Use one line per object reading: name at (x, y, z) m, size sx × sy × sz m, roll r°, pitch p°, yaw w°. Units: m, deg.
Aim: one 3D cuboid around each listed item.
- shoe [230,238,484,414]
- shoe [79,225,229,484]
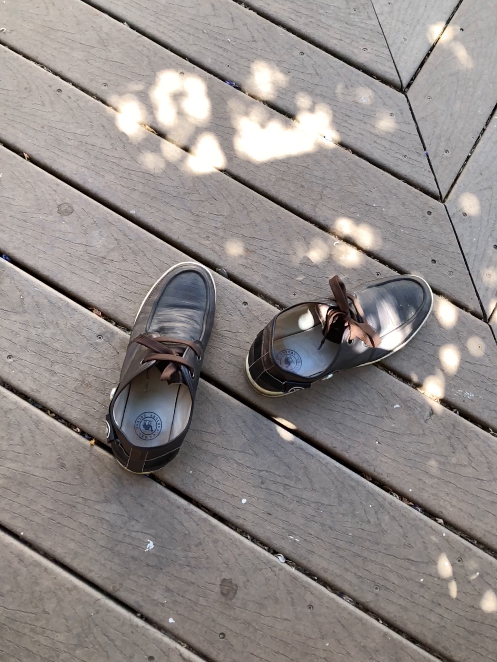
shoe at (0.139, -0.004, 0.744) m, size 0.303 × 0.121 × 0.108 m, roll -22°, pitch 78°, yaw -11°
shoe at (-0.113, 0.035, 0.709) m, size 0.108 × 0.121 × 0.301 m, roll 12°, pitch 74°, yaw -2°
